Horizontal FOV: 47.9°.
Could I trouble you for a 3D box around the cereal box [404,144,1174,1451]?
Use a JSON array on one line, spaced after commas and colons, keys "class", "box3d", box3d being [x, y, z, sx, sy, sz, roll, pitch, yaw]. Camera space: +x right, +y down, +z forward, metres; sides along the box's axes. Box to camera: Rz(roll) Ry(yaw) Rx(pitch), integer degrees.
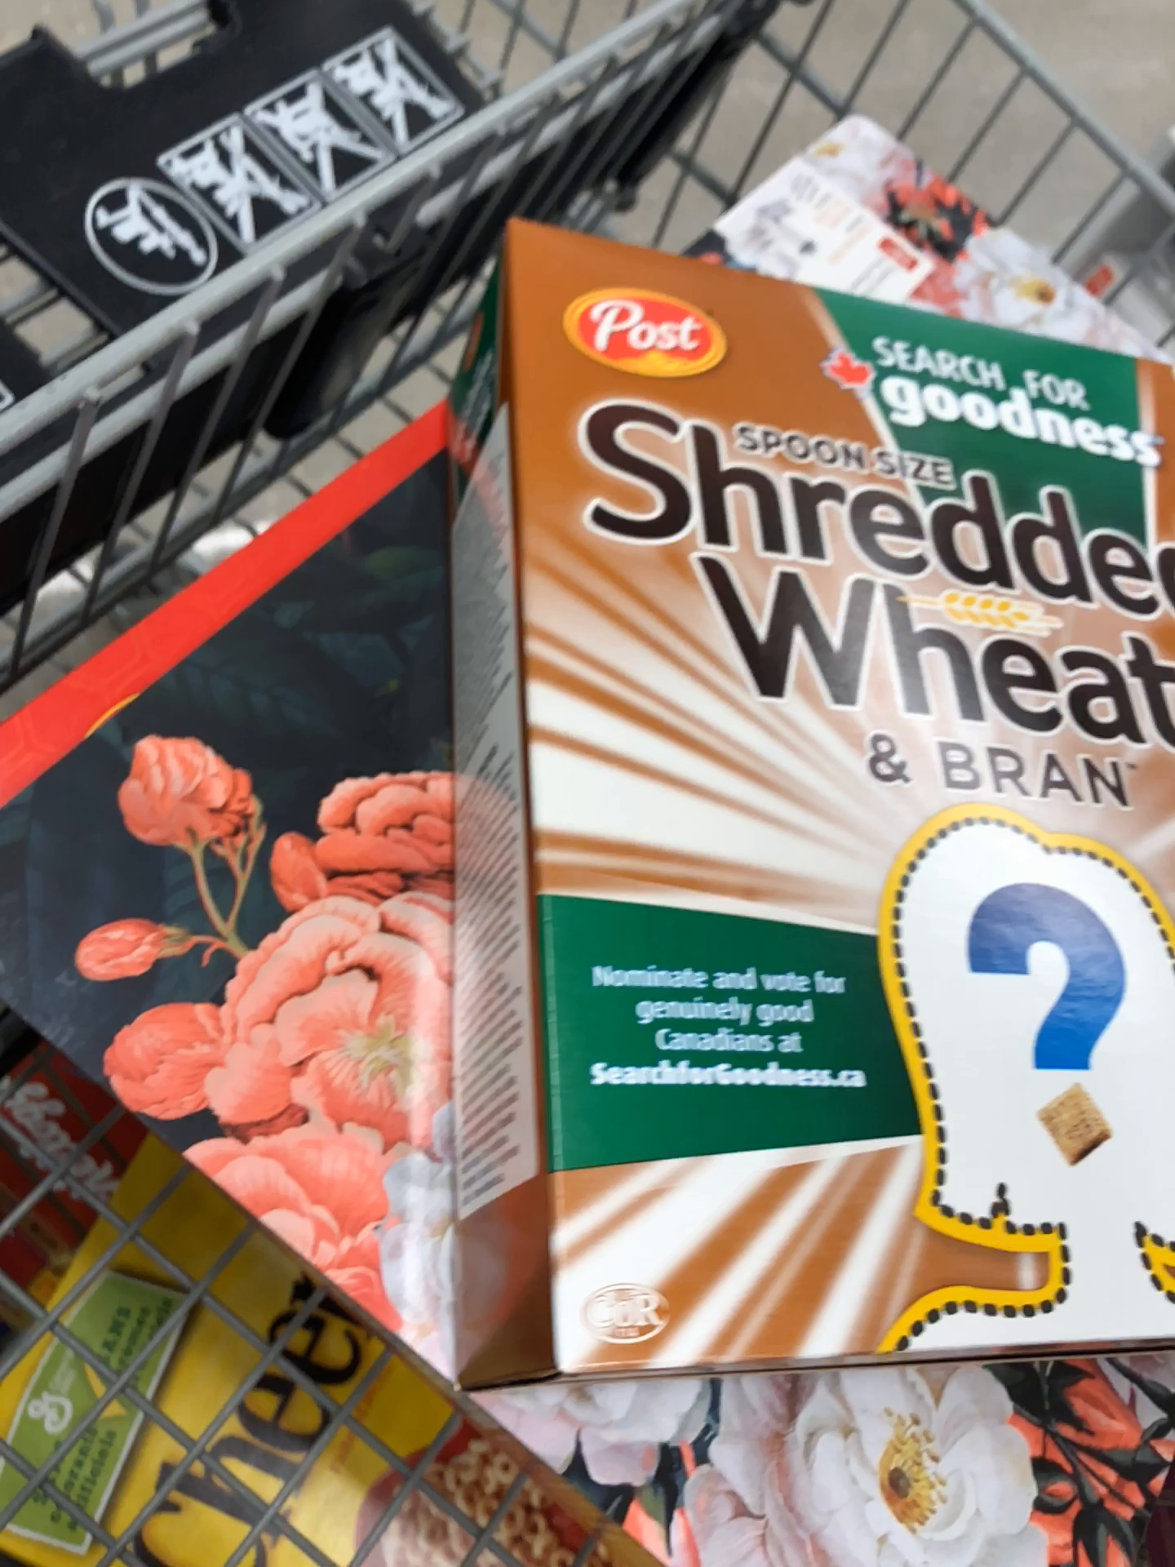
[{"class": "cereal box", "box3d": [0.072, -0.005, 0.335, 0.221, 0.070, 0.300, 8, 59, -19]}]
